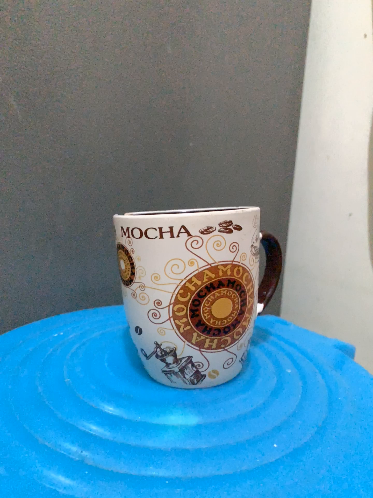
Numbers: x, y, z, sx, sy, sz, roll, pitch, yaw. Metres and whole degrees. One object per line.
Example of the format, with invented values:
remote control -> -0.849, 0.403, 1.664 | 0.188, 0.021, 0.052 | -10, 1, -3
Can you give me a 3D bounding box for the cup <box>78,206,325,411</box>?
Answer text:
cup -> 0.007, 0.019, 0.219 | 0.110, 0.080, 0.080 | -6, 7, -28
